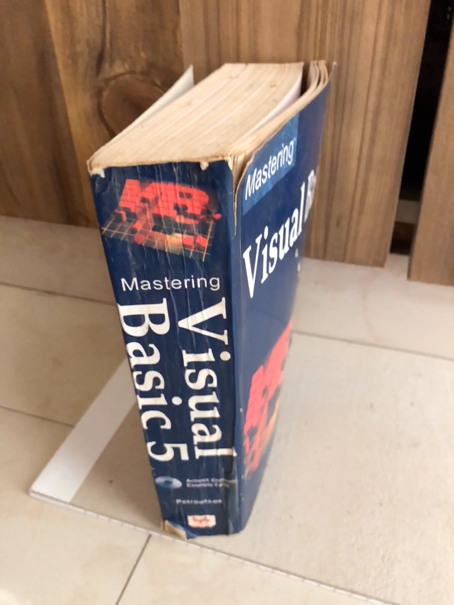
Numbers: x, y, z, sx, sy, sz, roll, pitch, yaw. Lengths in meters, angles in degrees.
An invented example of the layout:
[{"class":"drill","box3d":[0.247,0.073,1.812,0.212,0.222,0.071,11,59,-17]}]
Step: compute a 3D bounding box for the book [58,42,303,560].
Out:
[{"class":"book","box3d":[0.004,-0.010,0.326,0.060,0.249,0.211,4,35,14]}]
